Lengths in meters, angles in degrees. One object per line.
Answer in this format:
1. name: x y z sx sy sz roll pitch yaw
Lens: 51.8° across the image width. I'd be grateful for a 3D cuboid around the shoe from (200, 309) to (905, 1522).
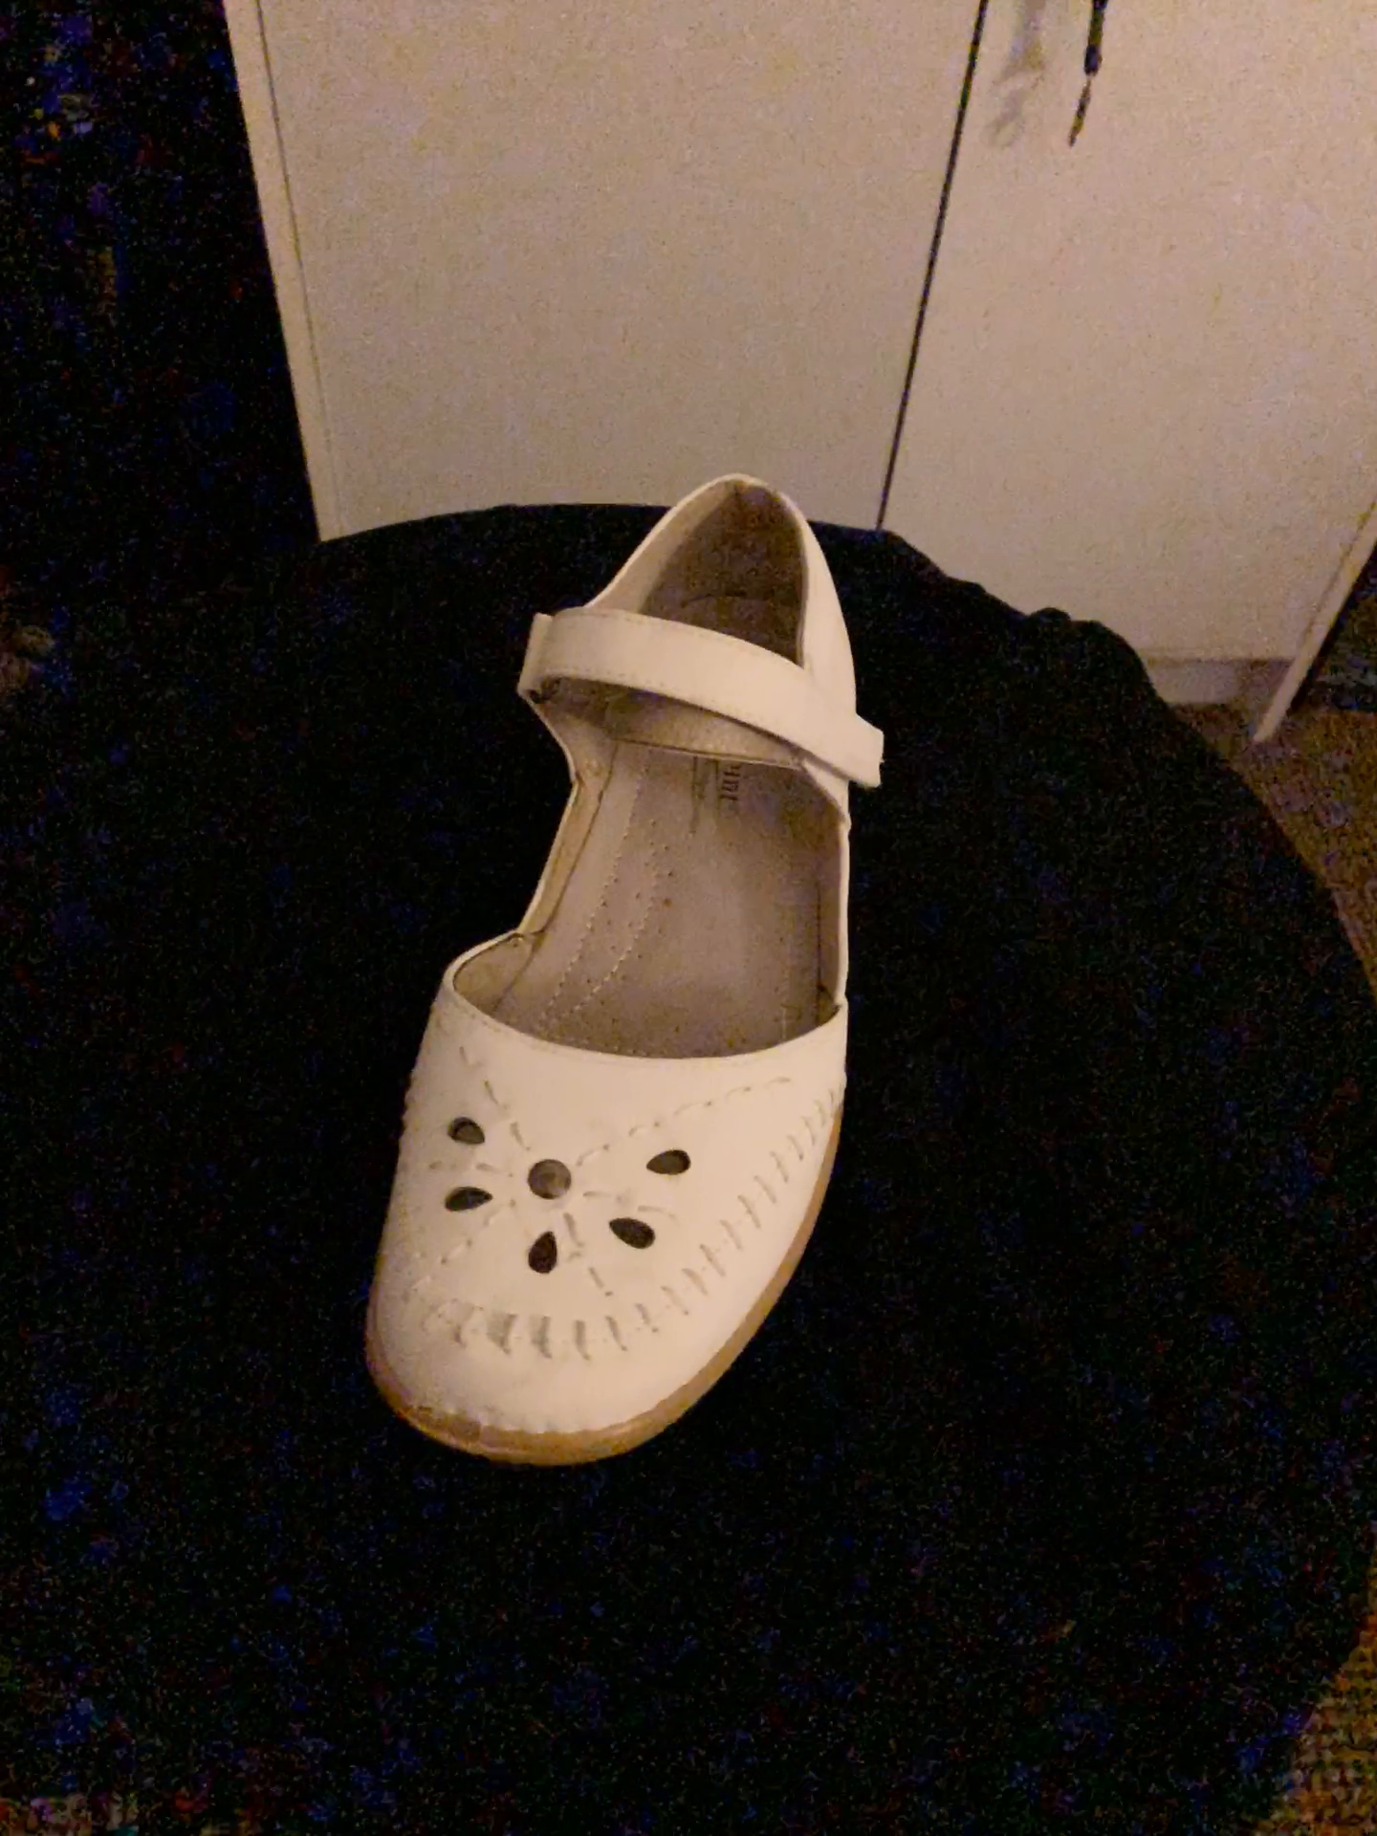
1. shoe: -0.010 -0.021 0.331 0.097 0.099 0.272 7 51 2
